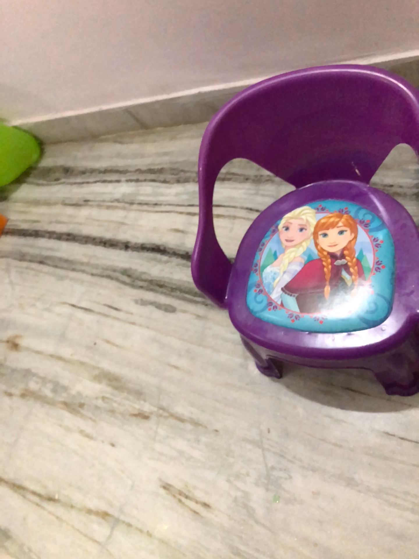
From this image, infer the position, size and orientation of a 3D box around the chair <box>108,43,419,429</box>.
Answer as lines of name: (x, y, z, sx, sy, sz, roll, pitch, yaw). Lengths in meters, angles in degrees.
chair: (0.149, -0.038, 0.700, 0.350, 0.349, 0.391, 5, 70, 30)
